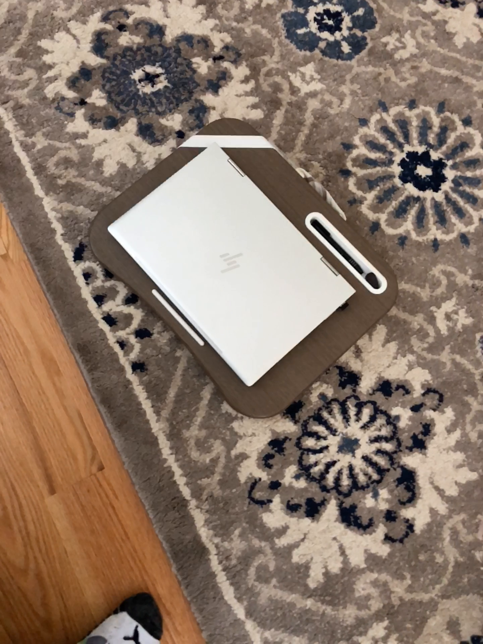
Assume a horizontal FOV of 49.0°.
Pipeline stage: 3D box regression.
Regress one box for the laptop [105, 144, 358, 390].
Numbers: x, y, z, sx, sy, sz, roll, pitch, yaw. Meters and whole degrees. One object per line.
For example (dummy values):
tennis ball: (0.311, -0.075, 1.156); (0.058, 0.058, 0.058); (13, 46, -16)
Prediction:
laptop: (-0.018, -0.100, 0.889); (0.241, 0.026, 0.354); (-41, 82, -11)
